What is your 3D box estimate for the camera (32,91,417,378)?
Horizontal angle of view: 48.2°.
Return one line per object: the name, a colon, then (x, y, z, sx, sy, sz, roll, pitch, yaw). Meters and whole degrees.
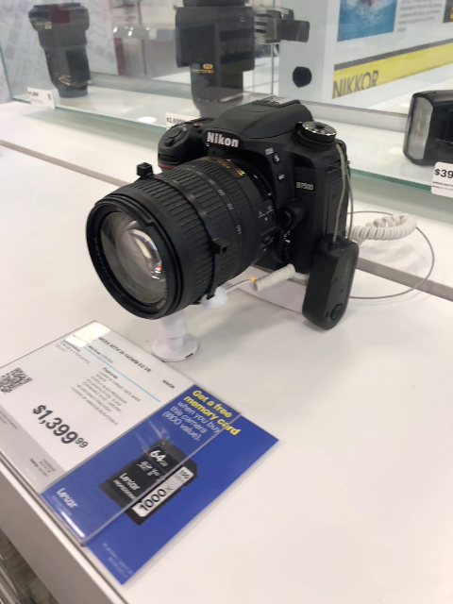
camera: (0.005, -0.065, 0.329, 0.160, 0.100, 0.170, 21, 39, 33)
